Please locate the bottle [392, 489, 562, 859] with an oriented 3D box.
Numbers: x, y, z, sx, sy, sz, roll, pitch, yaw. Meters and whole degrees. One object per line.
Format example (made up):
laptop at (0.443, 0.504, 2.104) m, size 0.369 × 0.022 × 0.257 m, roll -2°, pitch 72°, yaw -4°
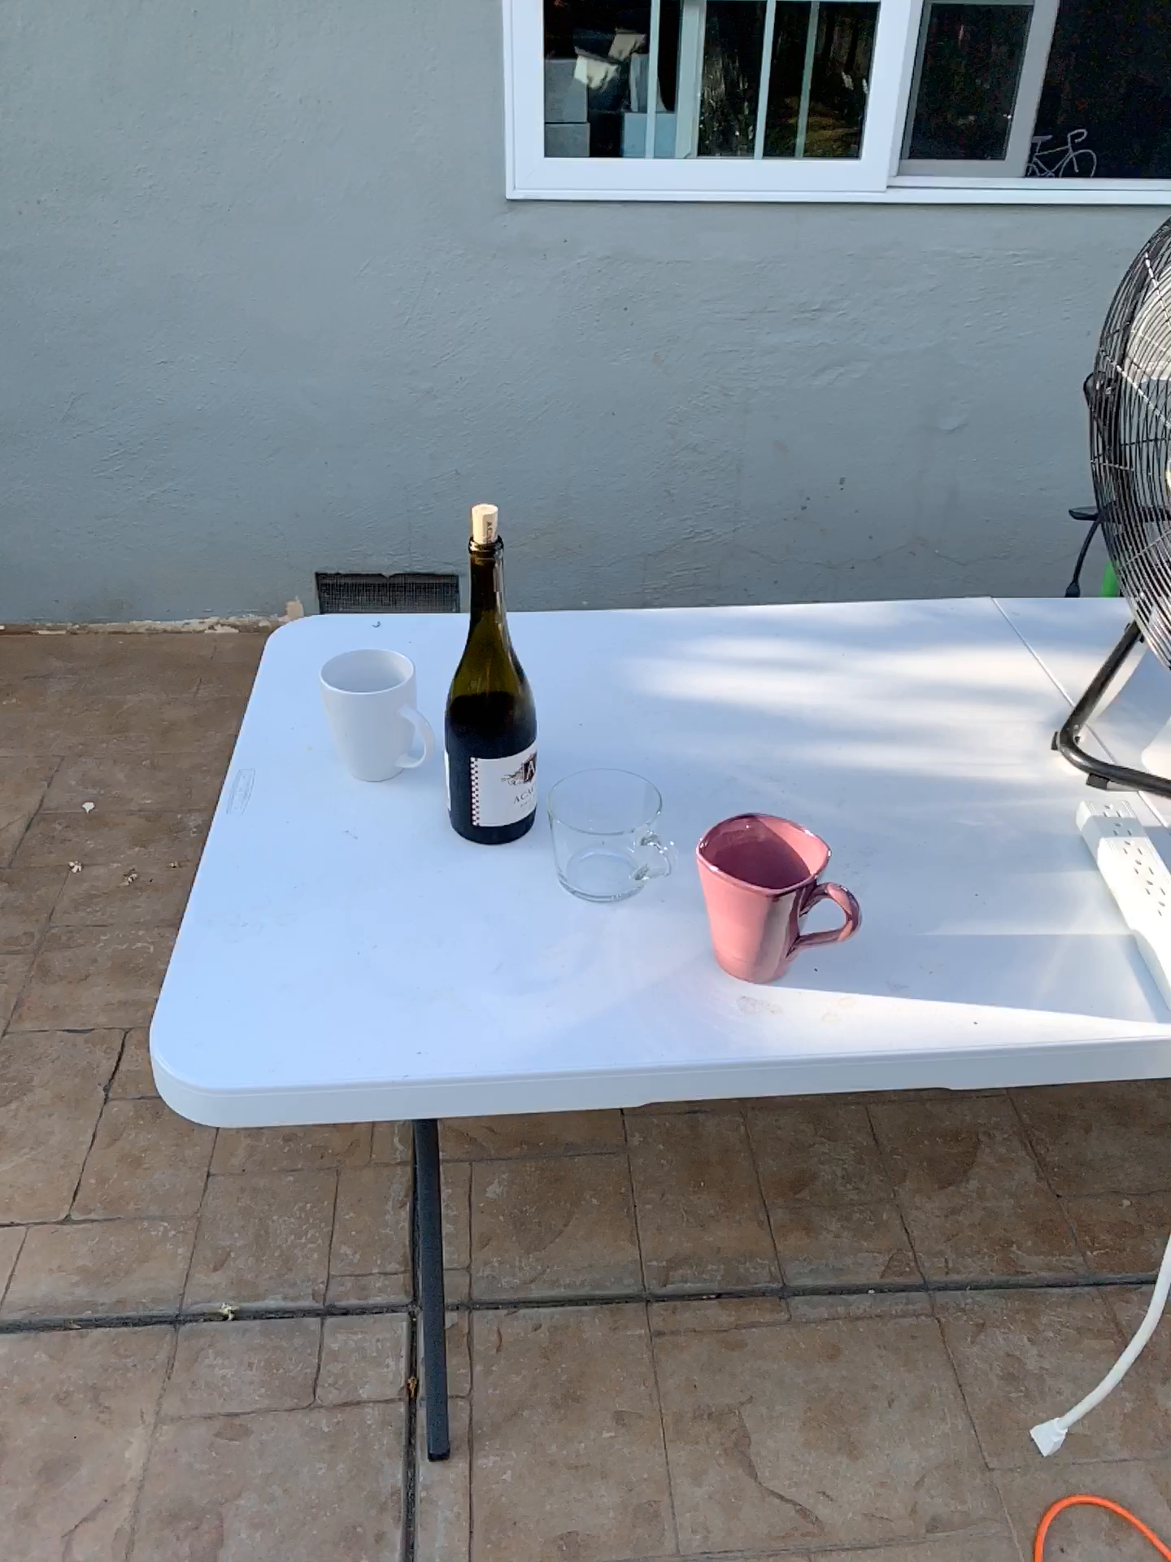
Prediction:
bottle at (-0.093, -0.093, 1.090) m, size 0.101 × 0.303 × 0.103 m, roll 1°, pitch 34°, yaw -1°
